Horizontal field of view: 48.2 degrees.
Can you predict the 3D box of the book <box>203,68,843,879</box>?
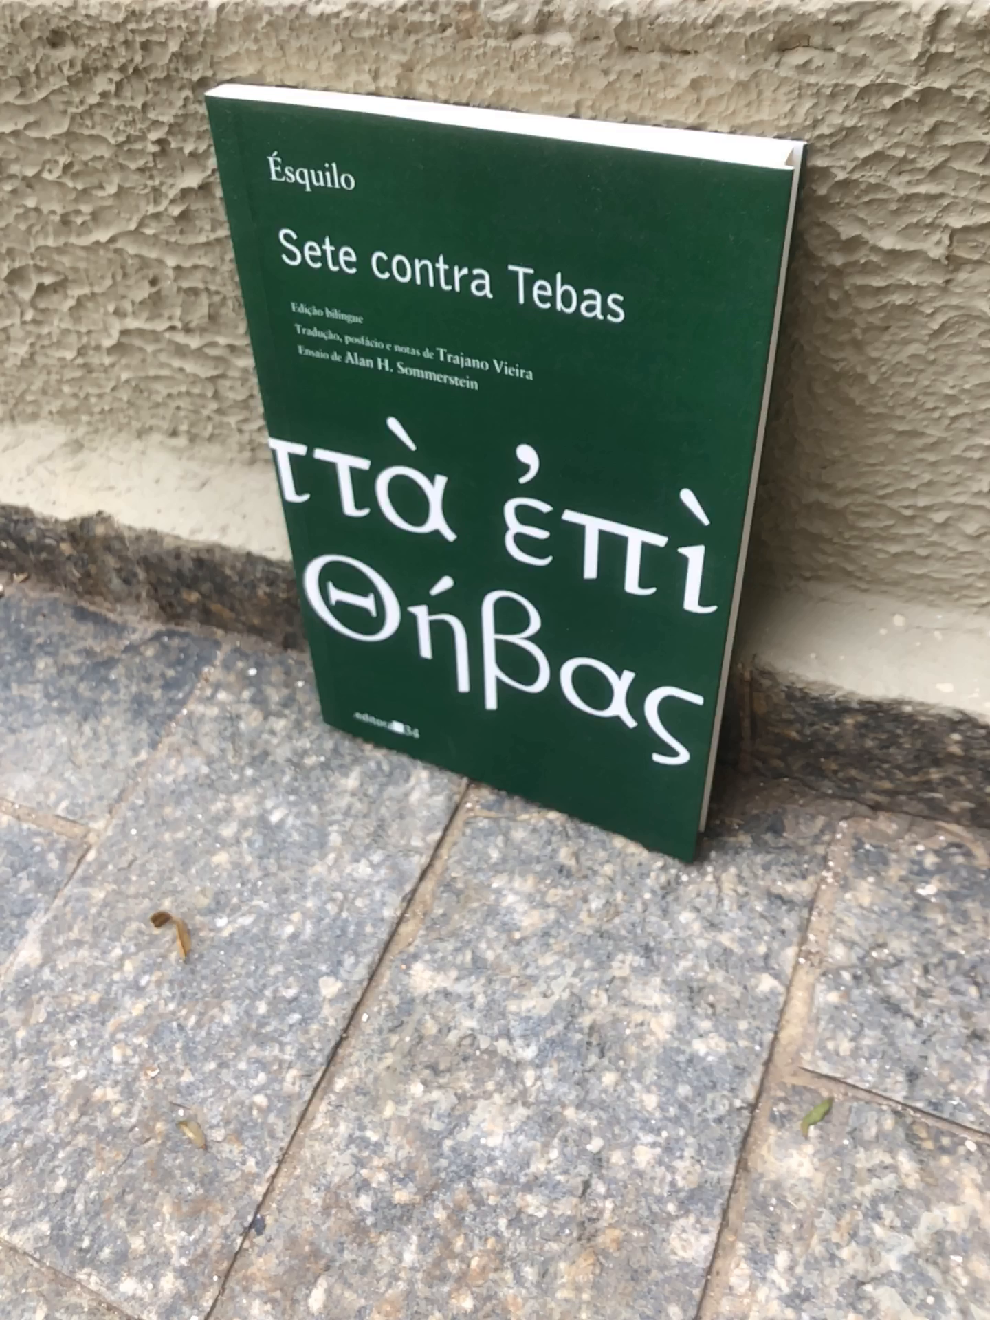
[{"bbox_3d":[0.003,-0.040,0.289,0.140,0.195,0.020,18,43,24],"label":"book"}]
